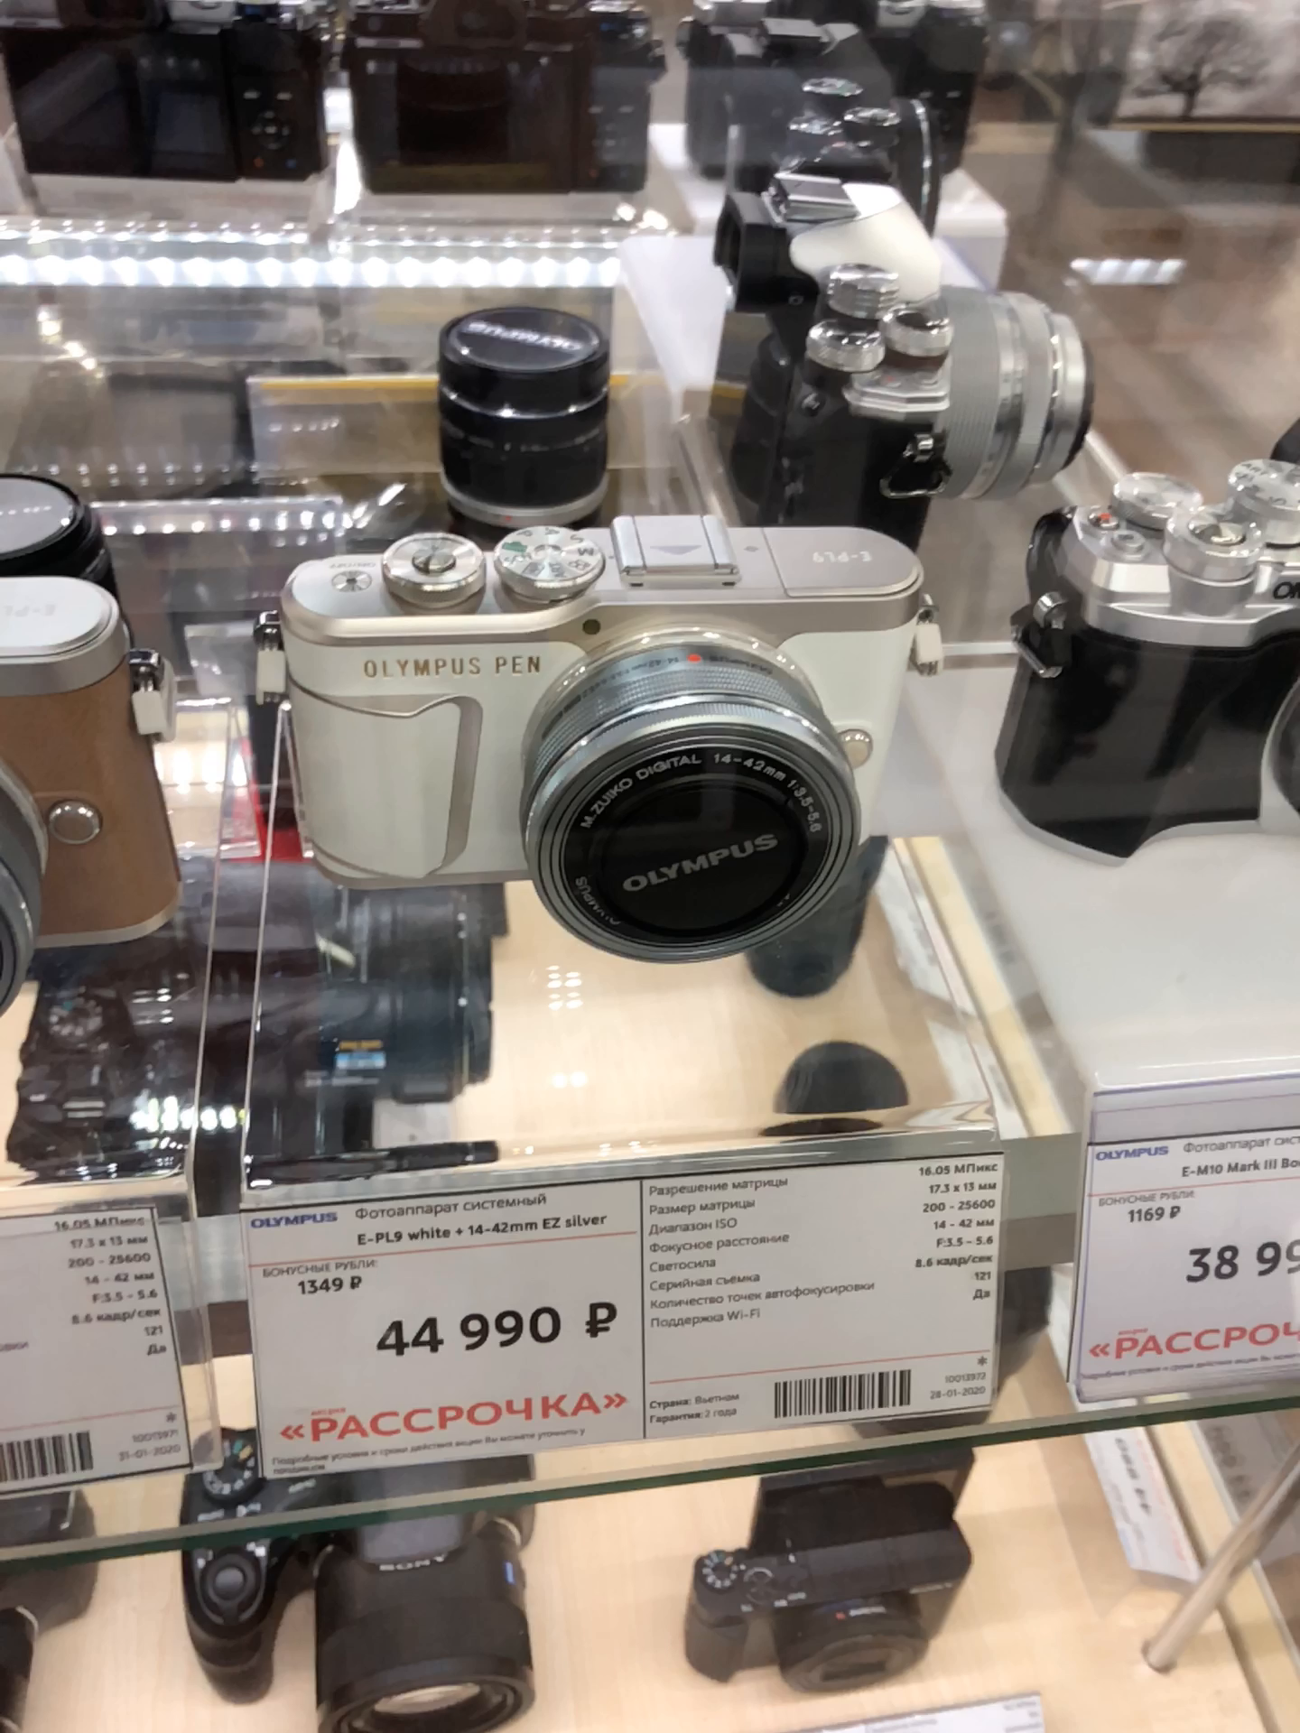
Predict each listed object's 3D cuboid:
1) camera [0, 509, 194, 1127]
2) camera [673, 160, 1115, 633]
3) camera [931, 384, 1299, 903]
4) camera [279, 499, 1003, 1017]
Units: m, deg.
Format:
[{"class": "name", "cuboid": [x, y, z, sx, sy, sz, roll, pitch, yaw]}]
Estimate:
[{"class": "camera", "cuboid": [-0.127, -0.009, 0.237, 0.087, 0.072, 0.061, -5, 43, -10]}, {"class": "camera", "cuboid": [0.053, -0.123, 0.368, 0.072, 0.072, 0.115, -4, 43, -9]}, {"class": "camera", "cuboid": [0.121, -0.042, 0.269, 0.114, 0.072, 0.053, -5, 43, -9]}, {"class": "camera", "cuboid": [-0.005, -0.021, 0.267, 0.114, 0.070, 0.053, -5, 43, -9]}]
